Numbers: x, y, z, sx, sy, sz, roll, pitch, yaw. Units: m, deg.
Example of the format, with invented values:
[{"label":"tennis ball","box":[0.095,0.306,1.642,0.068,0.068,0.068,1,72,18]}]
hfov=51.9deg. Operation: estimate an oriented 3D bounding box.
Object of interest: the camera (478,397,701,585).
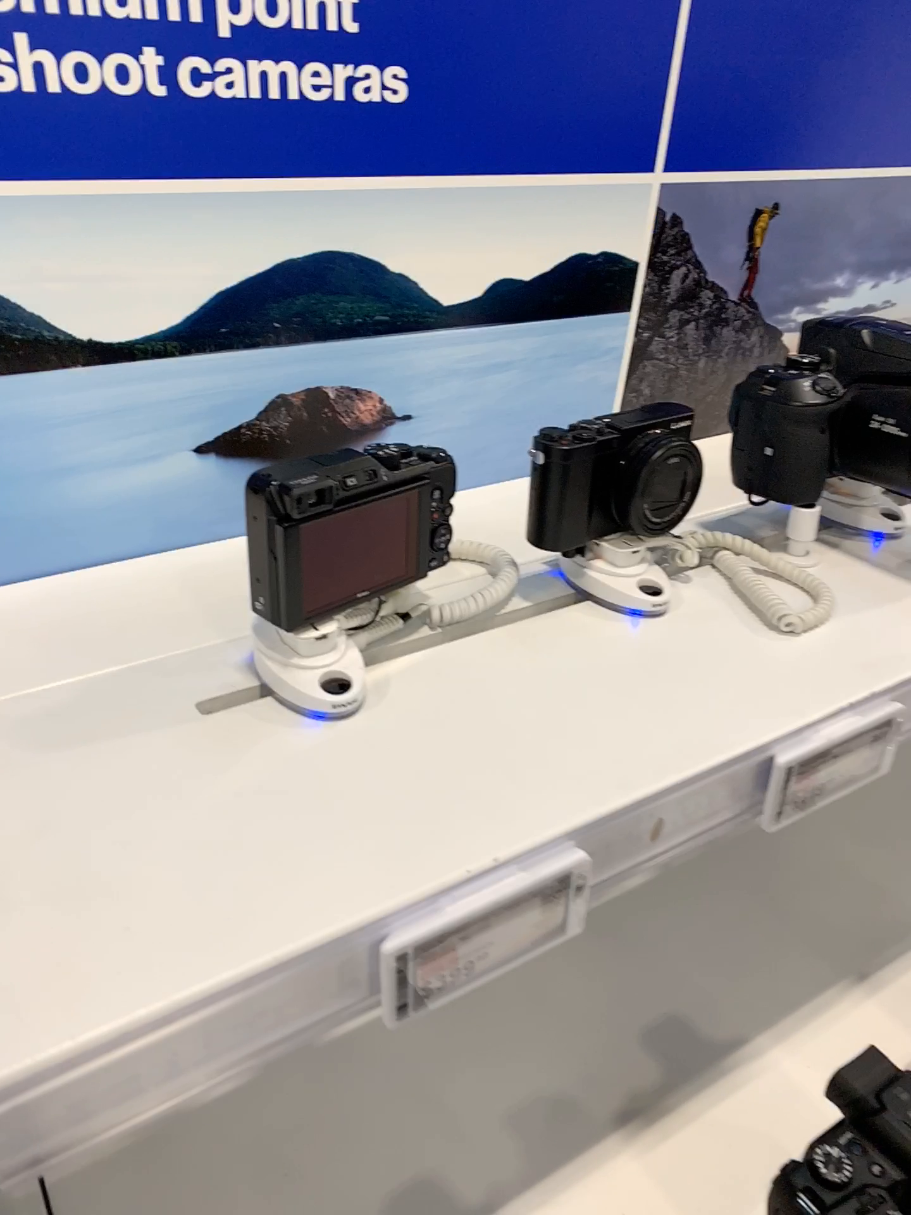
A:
[{"label":"camera","box":[0.073,-0.067,0.512,0.110,0.070,0.050,-17,32,-29]}]

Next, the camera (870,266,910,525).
[{"label":"camera","box":[0.451,-0.163,0.663,0.160,0.109,0.221,-17,33,-30]}]

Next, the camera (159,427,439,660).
[{"label":"camera","box":[-0.070,-0.035,0.449,0.120,0.070,0.050,-22,35,-36]}]

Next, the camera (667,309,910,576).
[{"label":"camera","box":[0.247,-0.111,0.574,0.160,0.099,0.151,-17,33,-29]}]
